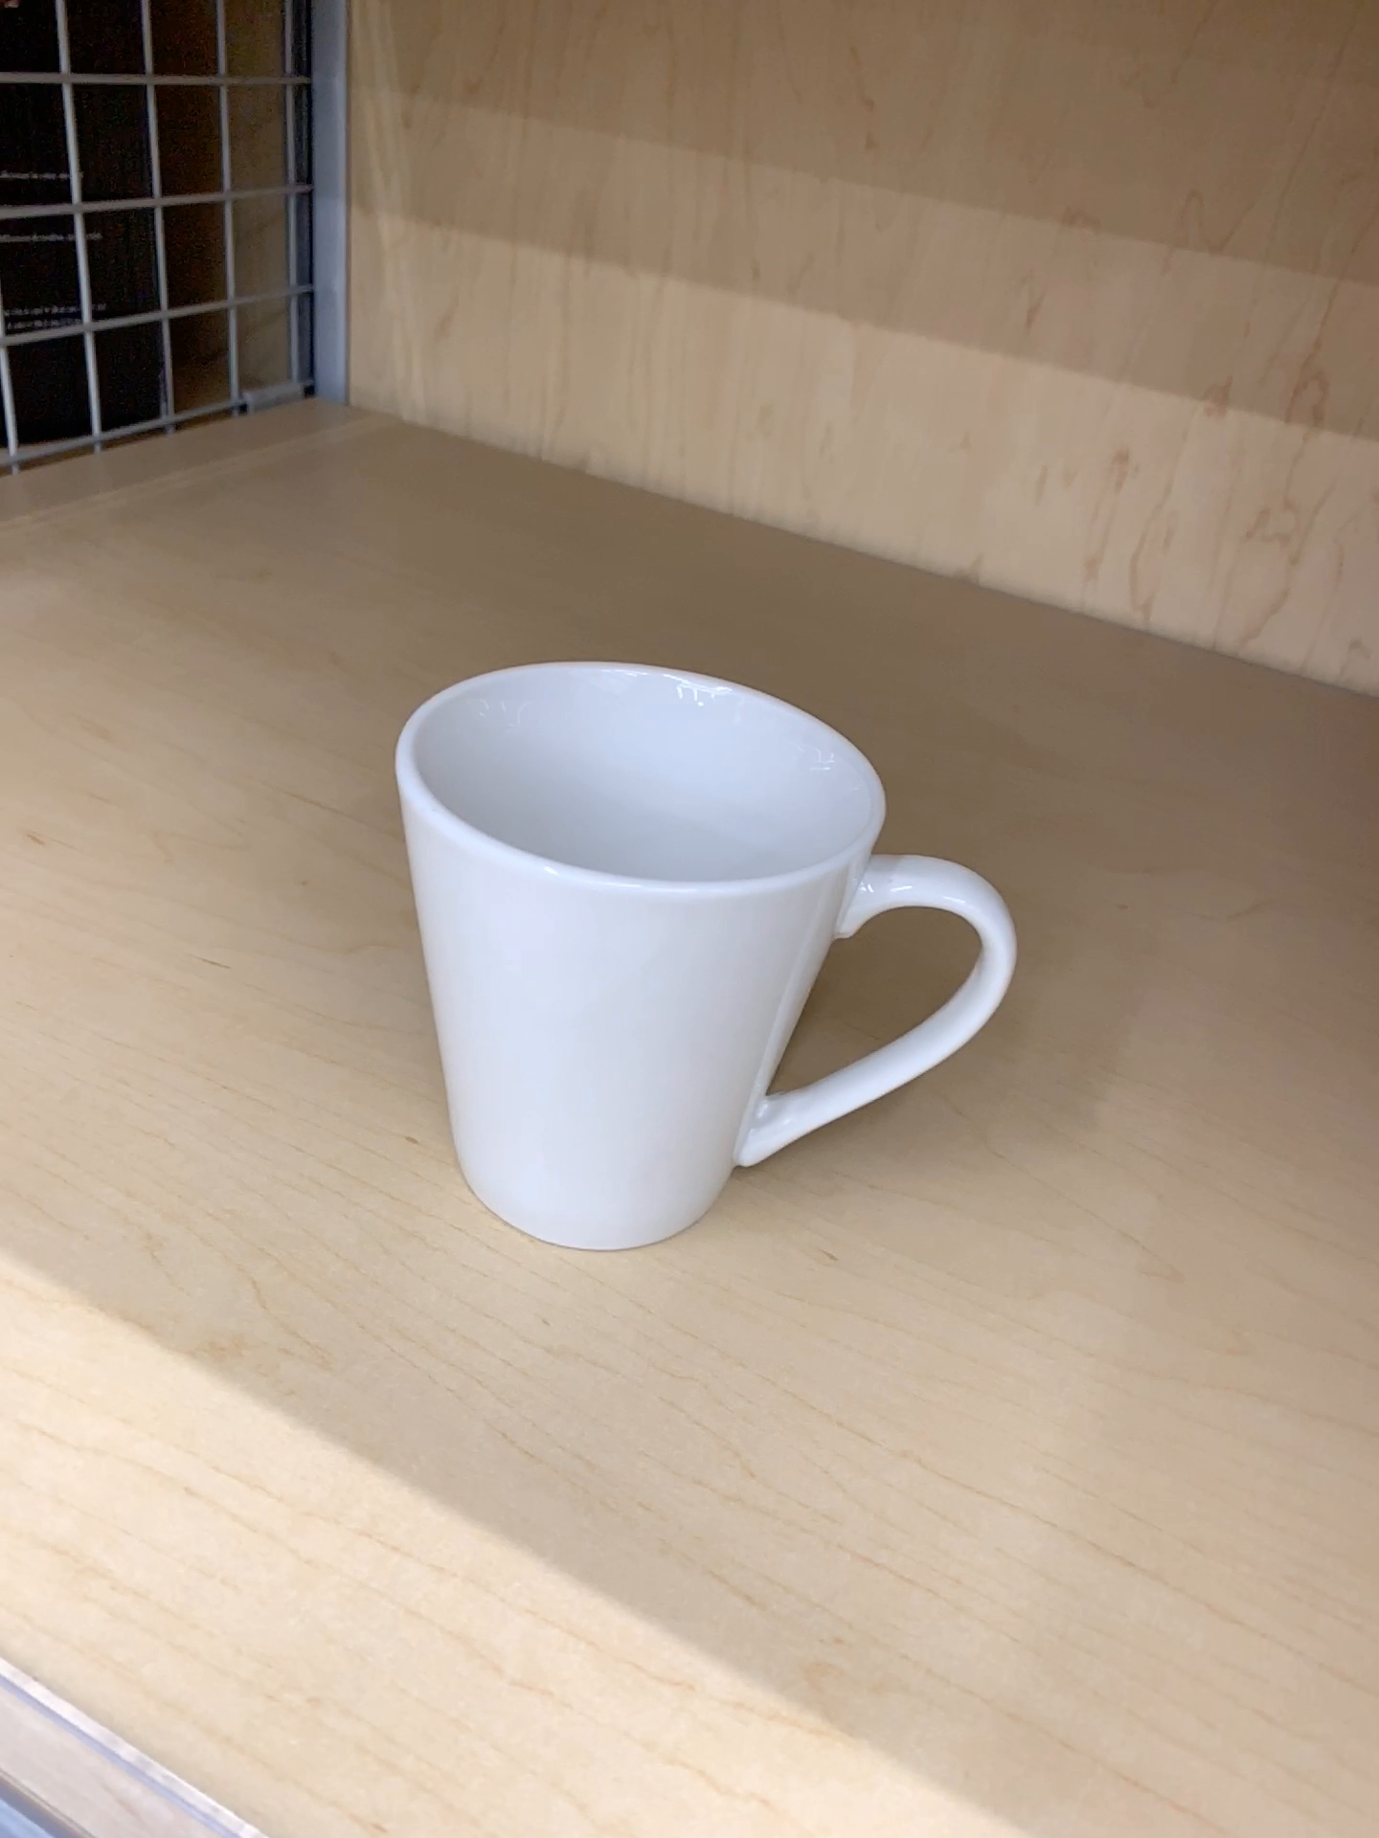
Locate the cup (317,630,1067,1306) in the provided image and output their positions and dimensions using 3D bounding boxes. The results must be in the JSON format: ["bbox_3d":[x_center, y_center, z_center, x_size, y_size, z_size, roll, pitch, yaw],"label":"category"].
[{"bbox_3d":[-0.002,0.008,0.306,0.128,0.090,0.094,8,36,-2],"label":"cup"}]
